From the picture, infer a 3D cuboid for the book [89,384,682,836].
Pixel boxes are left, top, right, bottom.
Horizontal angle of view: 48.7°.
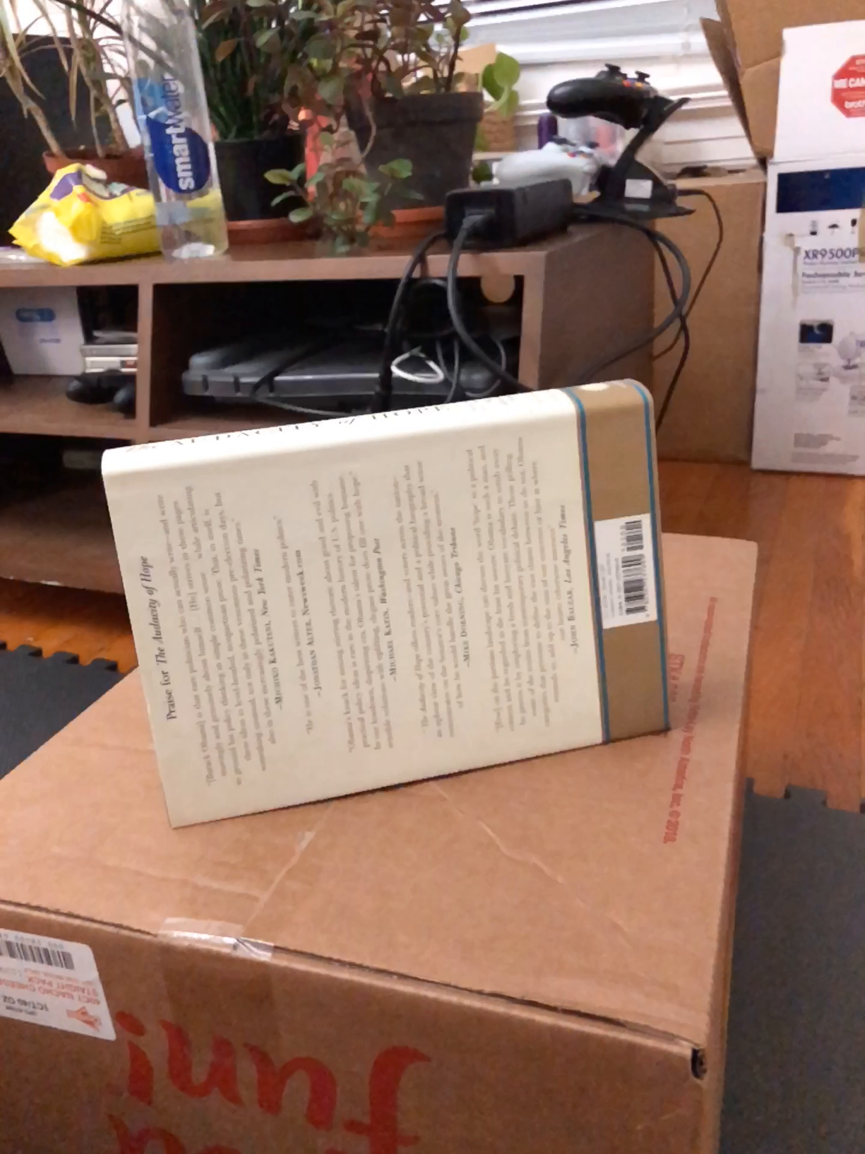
[{"bbox_3d":[-0.015,0.007,0.454,0.250,0.169,0.060,-8,13,-11],"label":"book"}]
